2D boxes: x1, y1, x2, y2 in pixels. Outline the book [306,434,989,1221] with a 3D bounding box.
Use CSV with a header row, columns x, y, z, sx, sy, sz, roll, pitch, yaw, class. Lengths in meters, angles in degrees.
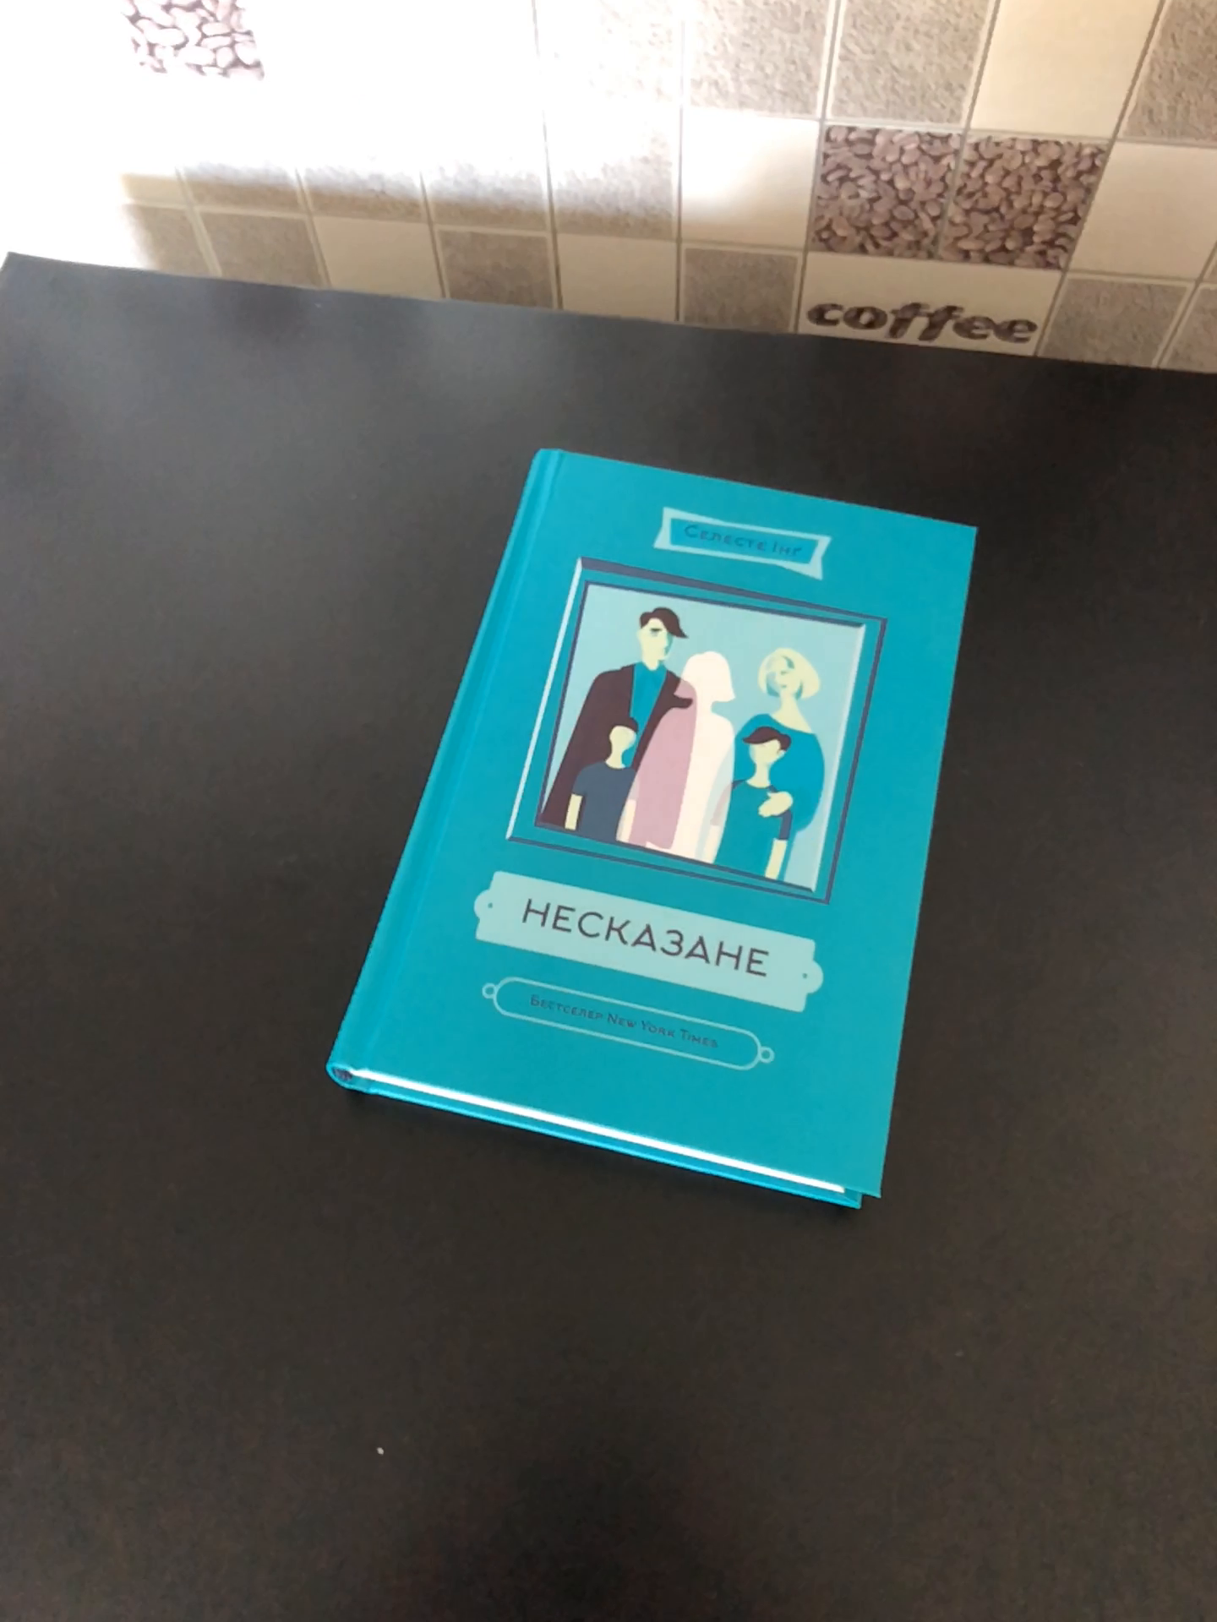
x,y,z,sx,sy,sz,roll,pitch,yaw,class
0.020,-0.006,0.394,0.150,0.030,0.211,12,66,7,book
